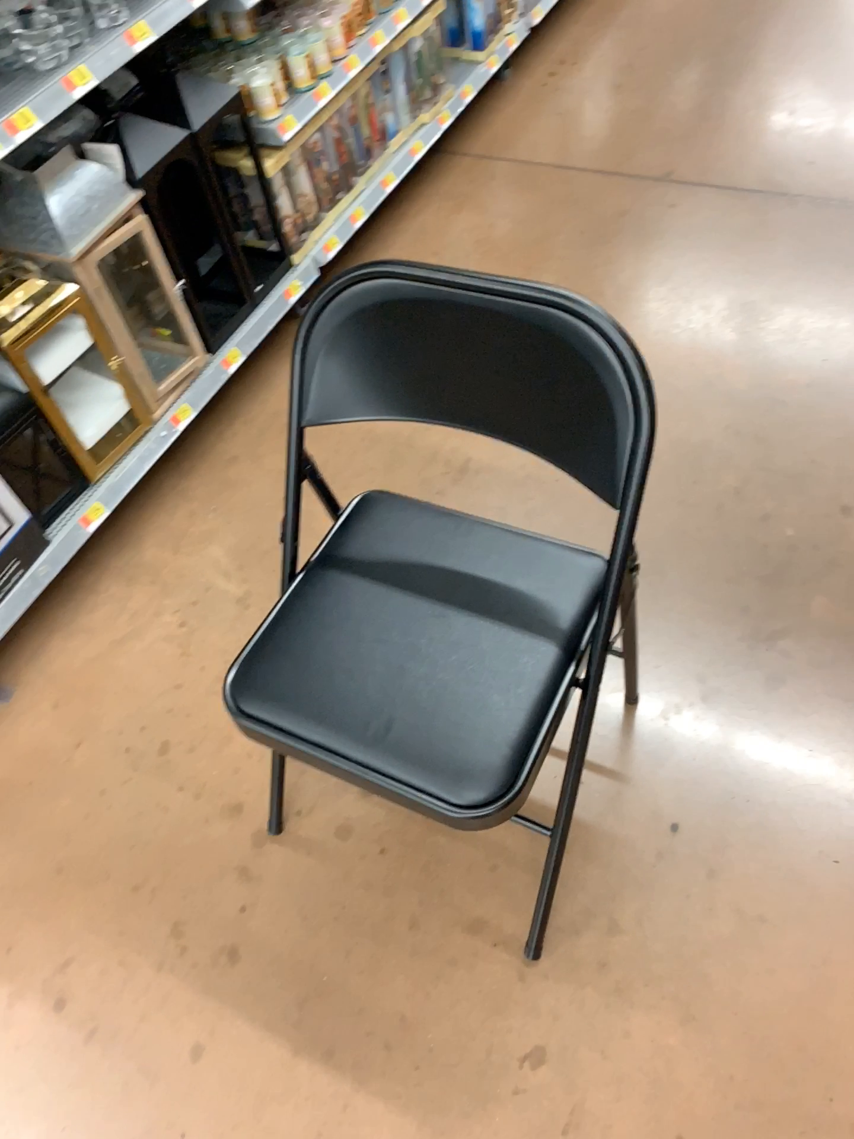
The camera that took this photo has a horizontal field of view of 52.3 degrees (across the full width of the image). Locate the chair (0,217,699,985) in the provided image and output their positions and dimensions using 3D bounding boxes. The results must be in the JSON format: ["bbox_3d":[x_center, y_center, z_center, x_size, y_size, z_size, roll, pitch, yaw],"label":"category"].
[{"bbox_3d":[-0.022,0.070,1.014,0.471,0.697,0.471,17,59,22],"label":"chair"}]
